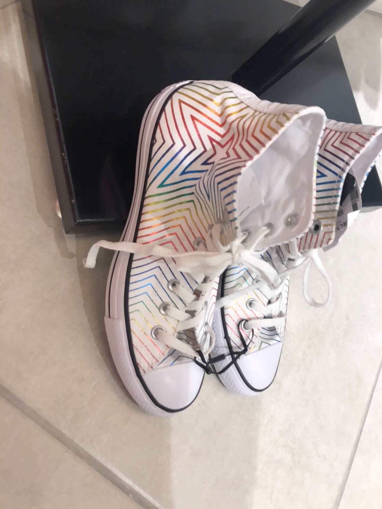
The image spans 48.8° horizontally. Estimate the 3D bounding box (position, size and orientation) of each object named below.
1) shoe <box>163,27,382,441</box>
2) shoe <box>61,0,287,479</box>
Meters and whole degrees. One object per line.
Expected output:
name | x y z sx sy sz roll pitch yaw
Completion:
shoe | 0.071 -0.016 0.396 0.121 0.139 0.300 -3 89 -35
shoe | -0.020 -0.017 0.342 0.121 0.139 0.300 -3 96 -35
